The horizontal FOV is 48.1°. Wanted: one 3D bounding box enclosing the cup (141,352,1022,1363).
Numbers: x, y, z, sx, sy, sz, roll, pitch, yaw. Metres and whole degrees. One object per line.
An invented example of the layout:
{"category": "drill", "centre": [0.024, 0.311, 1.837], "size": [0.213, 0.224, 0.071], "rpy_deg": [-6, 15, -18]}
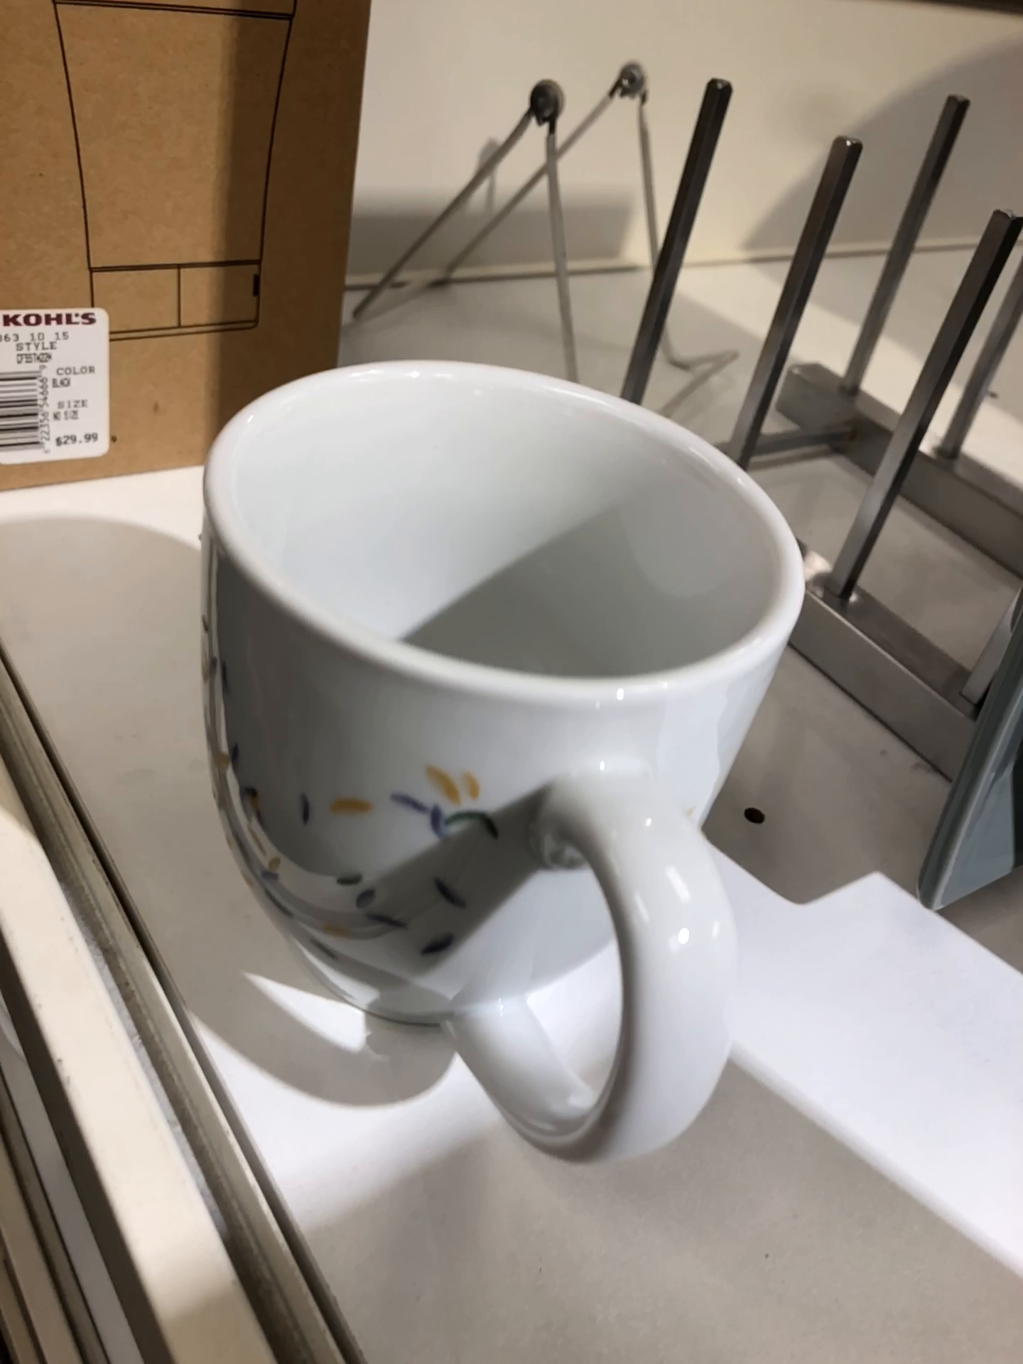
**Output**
{"category": "cup", "centre": [-0.002, 0.017, 0.191], "size": [0.093, 0.091, 0.128], "rpy_deg": [-8, 43, -24]}
